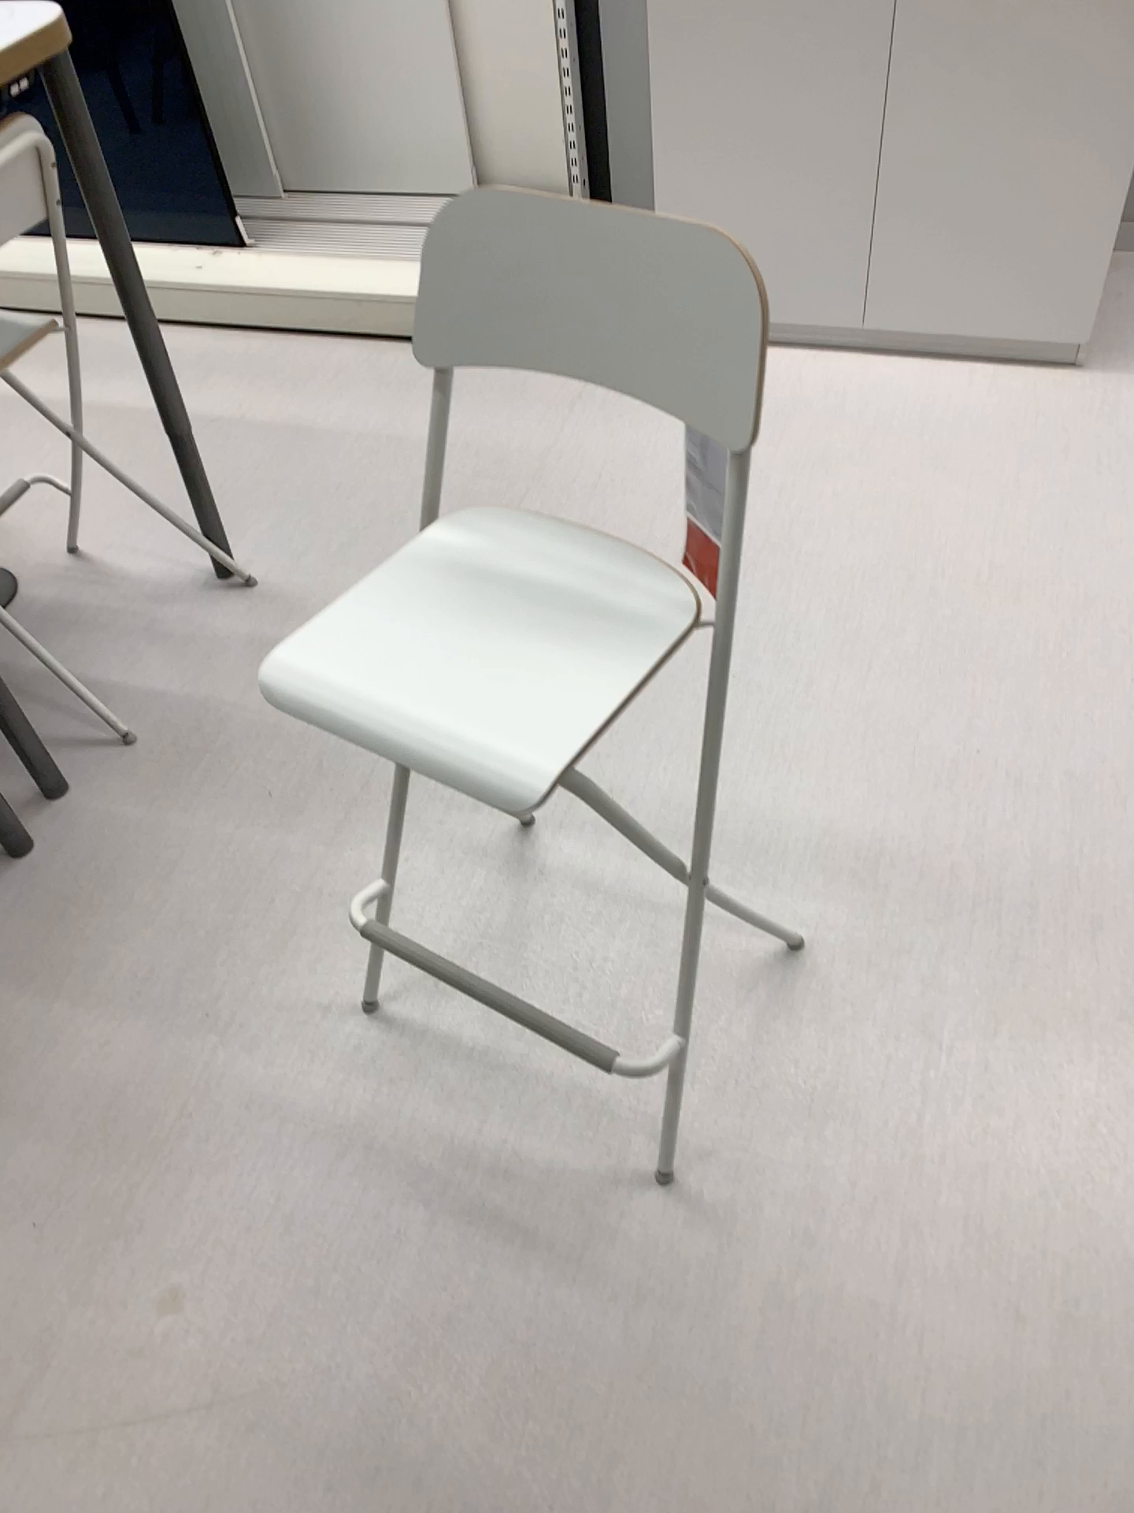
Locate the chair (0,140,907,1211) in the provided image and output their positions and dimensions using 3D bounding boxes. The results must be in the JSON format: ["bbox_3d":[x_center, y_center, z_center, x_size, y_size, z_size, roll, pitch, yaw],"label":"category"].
[{"bbox_3d":[-0.040,-0.037,1.231,0.521,0.936,0.501,23,55,25],"label":"chair"}]
